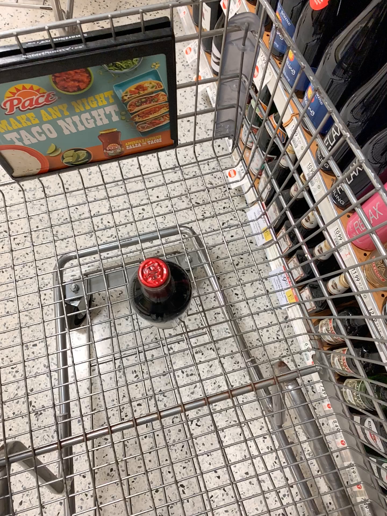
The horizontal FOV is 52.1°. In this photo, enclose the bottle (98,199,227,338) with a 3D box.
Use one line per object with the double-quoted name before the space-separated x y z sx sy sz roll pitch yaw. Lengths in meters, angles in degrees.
"bottle" -0.034 0.036 0.485 0.080 0.299 0.090 -24 80 -8
